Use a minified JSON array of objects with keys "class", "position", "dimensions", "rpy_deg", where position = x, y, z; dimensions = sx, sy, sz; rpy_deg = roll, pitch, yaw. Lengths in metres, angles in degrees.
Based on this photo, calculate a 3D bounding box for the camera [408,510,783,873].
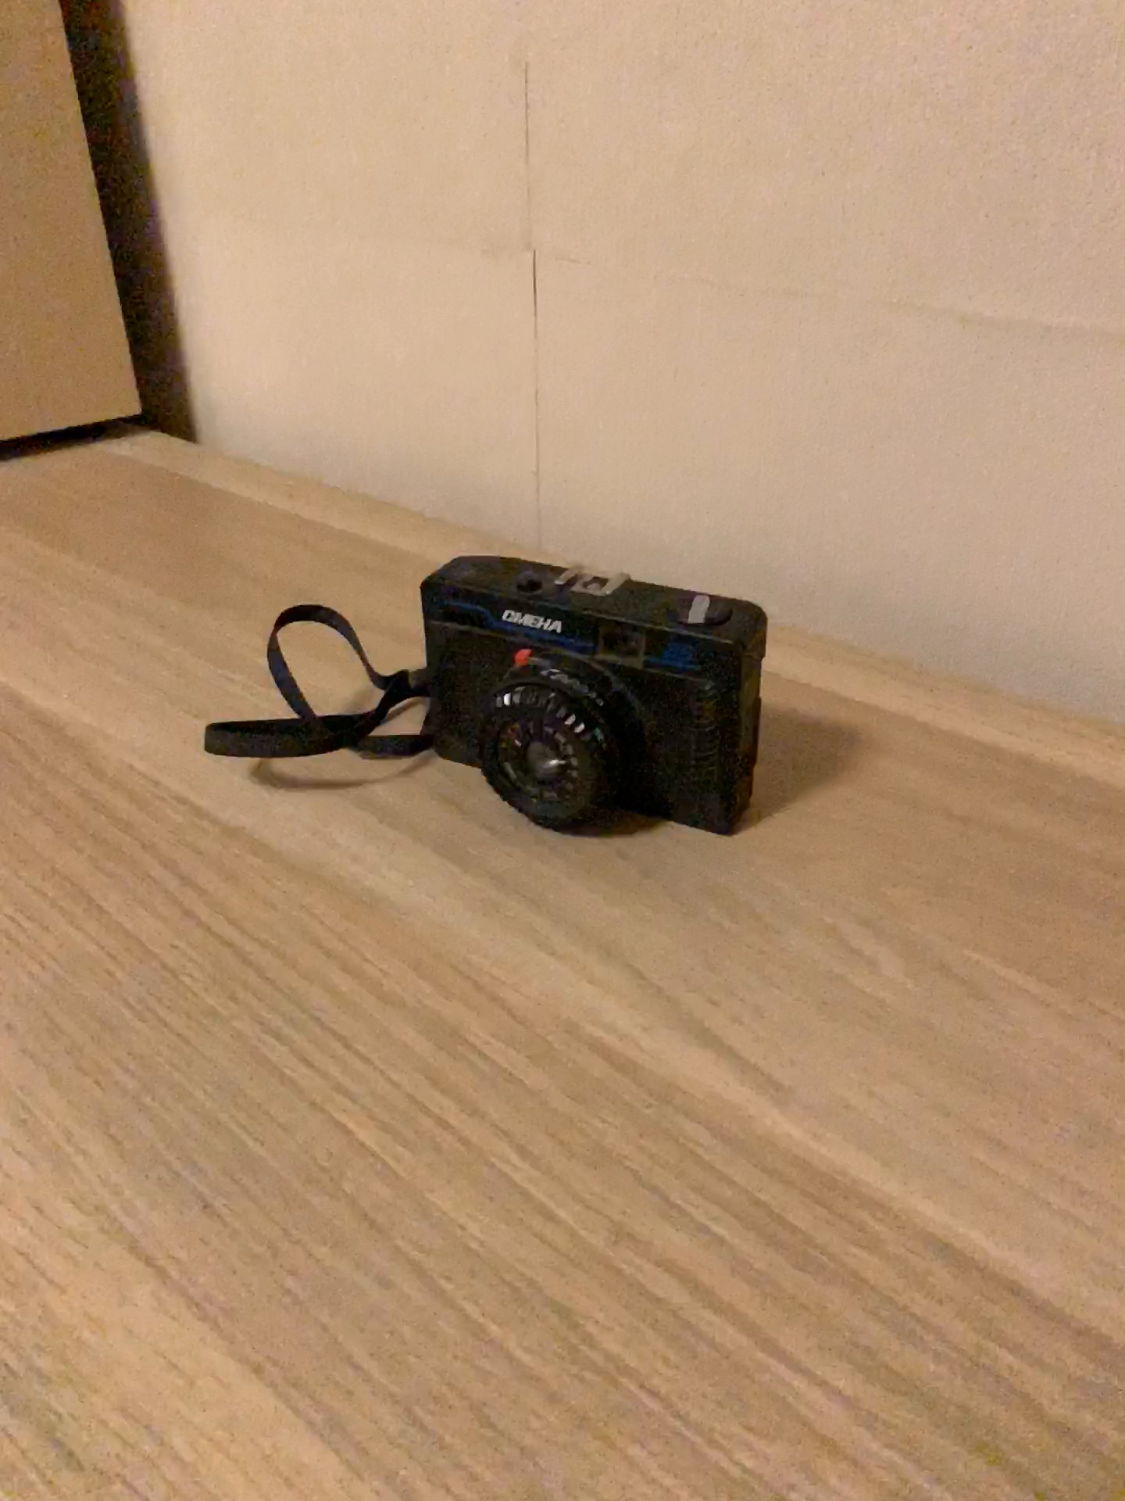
[{"class":"camera","position":[0.010,-0.021,0.383],"dimensions":[0.110,0.089,0.040],"rpy_deg":[15,38,24]}]
